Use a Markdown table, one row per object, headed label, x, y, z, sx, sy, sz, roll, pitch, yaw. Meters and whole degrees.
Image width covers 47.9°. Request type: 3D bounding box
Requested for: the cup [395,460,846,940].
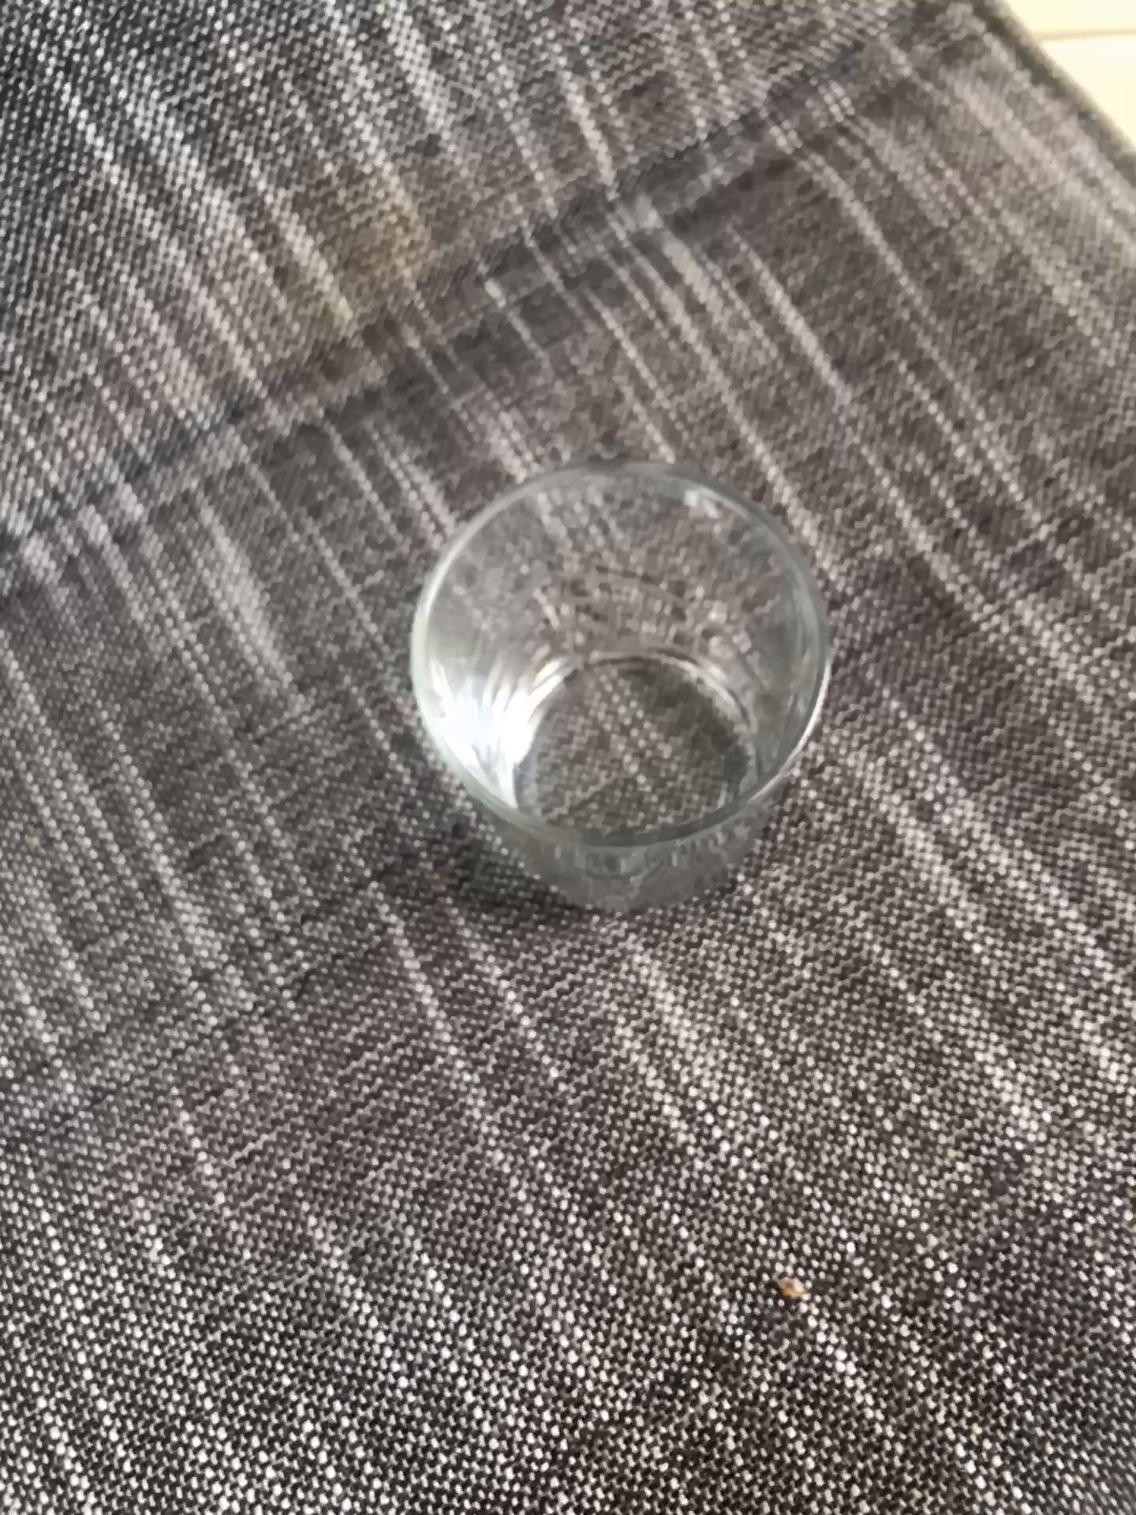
| label | x | y | z | sx | sy | sz | roll | pitch | yaw |
| --- | --- | --- | --- | --- | --- | --- | --- | --- | --- |
| cup | 0.011 | -0.005 | 0.246 | 0.070 | 0.080 | 0.070 | -1 | 75 | 4 |
